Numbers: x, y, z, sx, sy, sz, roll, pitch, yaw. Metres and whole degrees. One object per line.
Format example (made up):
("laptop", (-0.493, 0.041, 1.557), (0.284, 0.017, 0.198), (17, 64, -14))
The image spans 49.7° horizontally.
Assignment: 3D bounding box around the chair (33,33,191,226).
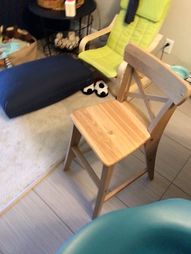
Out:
("chair", (0.087, 0.051, 0.973), (0.492, 0.685, 0.441), (-26, 60, -22))
